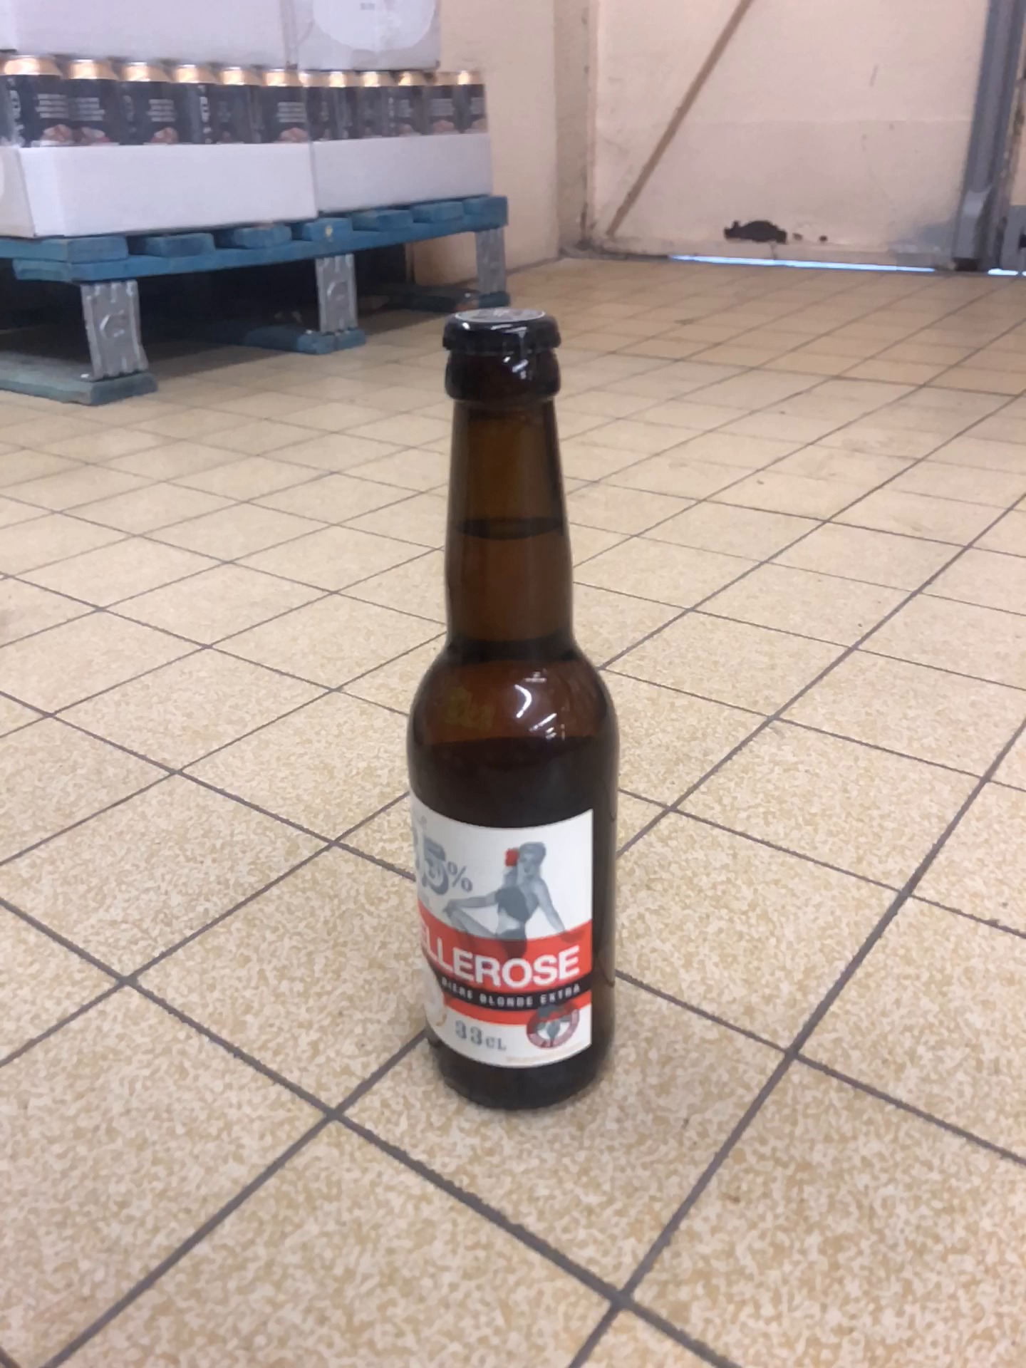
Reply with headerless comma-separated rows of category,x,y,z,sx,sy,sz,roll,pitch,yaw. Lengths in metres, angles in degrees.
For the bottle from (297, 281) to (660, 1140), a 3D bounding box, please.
bottle,-0.003,0.009,0.309,0.060,0.219,0.070,10,27,22
